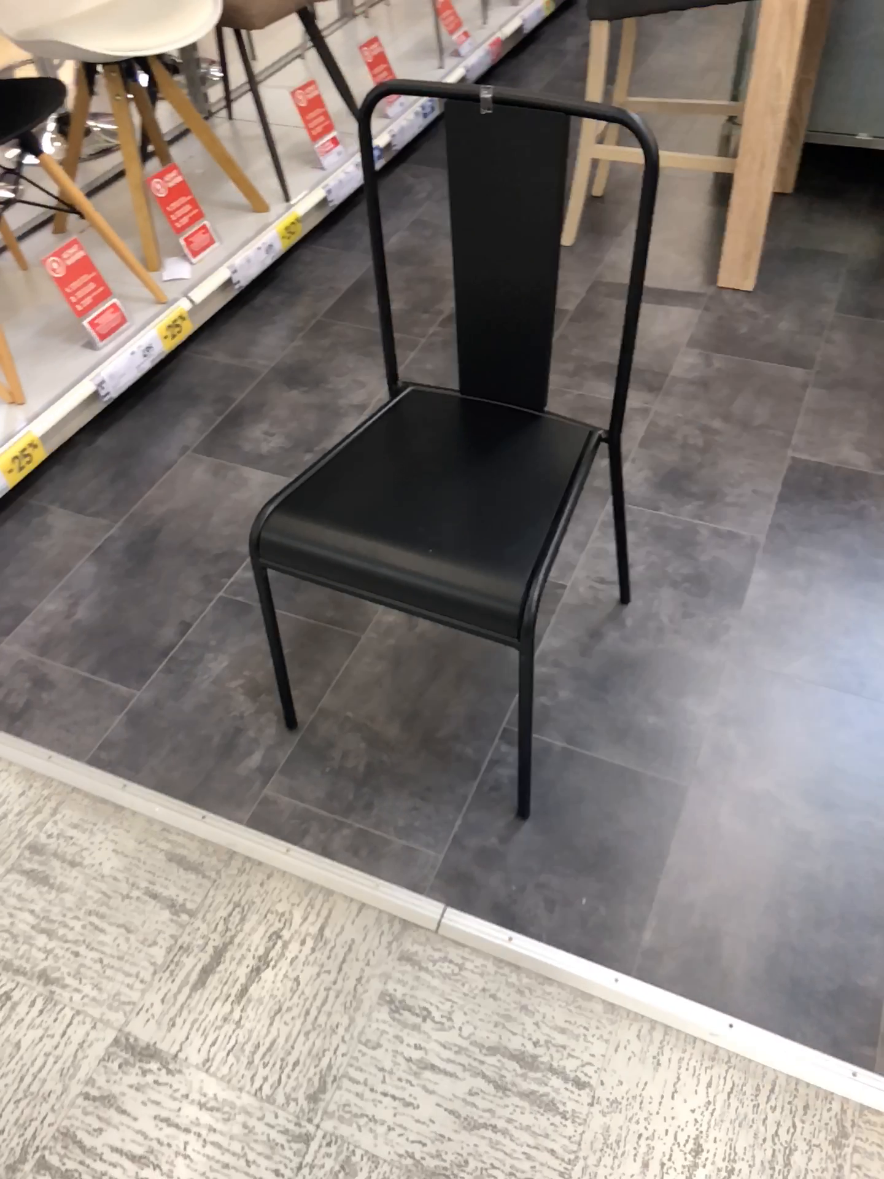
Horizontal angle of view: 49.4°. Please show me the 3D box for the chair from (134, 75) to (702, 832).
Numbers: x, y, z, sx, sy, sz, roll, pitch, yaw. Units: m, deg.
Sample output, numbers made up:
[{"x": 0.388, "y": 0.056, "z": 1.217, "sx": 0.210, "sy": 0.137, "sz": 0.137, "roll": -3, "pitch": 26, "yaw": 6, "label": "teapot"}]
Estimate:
[{"x": 0.026, "y": -0.177, "z": 1.367, "sx": 0.440, "sy": 0.815, "sz": 0.573, "roll": 16, "pitch": 49, "yaw": 18, "label": "chair"}]
